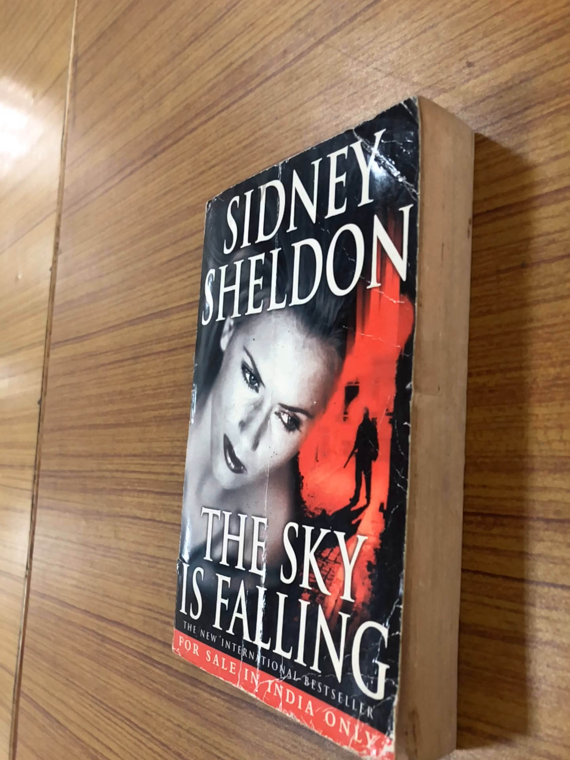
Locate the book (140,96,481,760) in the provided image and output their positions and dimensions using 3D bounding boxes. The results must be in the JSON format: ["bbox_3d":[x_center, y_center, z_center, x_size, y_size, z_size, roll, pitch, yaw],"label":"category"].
[{"bbox_3d":[0.001,0.016,0.211,0.121,0.030,0.170,-4,80,49],"label":"book"}]
